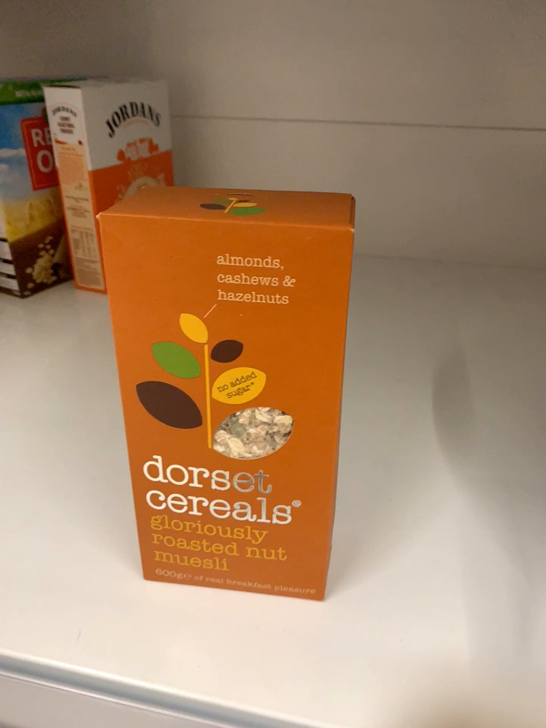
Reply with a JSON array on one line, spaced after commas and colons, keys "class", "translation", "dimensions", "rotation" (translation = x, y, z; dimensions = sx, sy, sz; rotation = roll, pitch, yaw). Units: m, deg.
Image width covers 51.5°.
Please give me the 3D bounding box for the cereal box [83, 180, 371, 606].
[{"class": "cereal box", "translation": [-0.018, 0.024, 0.313], "dimensions": [0.120, 0.228, 0.061], "rotation": [4, 29, 6]}]
